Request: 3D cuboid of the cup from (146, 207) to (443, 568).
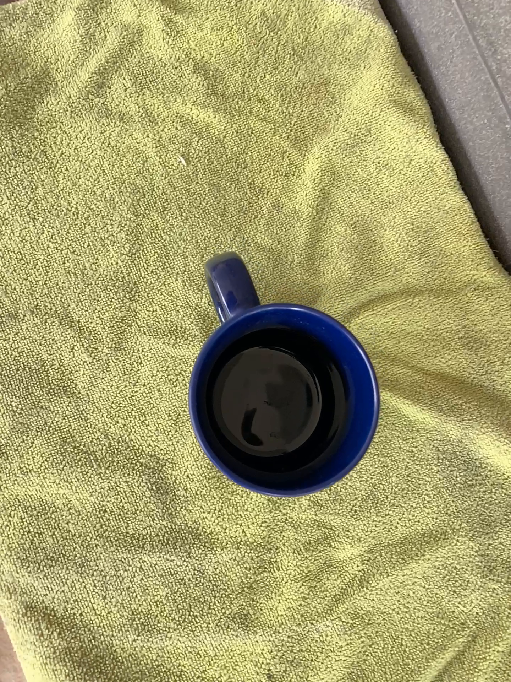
[{"bbox_3d":[0.012,0.023,0.273,0.090,0.110,0.130,-16,84,-6],"label":"cup"}]
